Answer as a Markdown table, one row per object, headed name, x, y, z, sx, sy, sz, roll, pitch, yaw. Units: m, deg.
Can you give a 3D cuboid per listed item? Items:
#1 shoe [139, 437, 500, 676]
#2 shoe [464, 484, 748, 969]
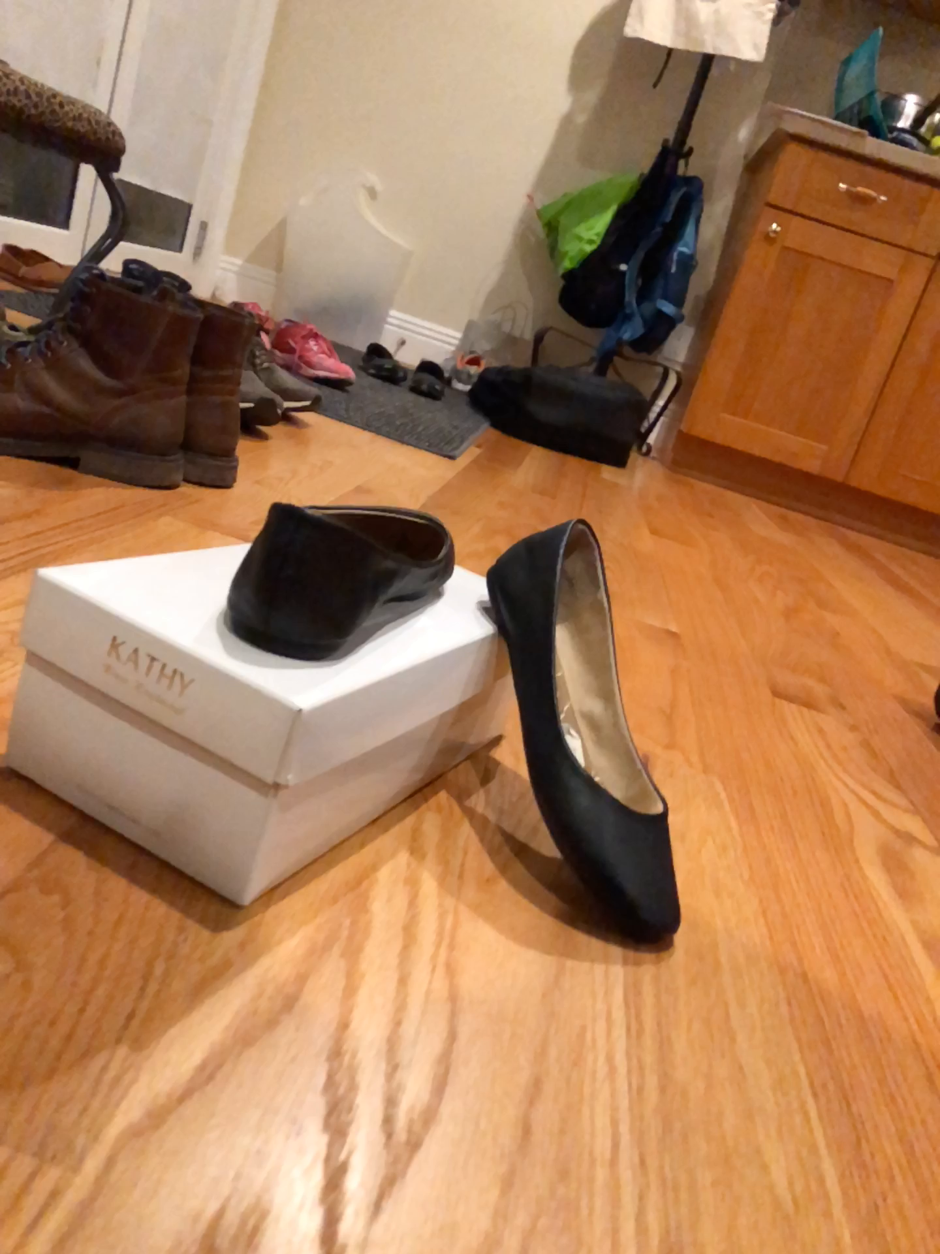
| name | x | y | z | sx | sy | sz | roll | pitch | yaw |
| --- | --- | --- | --- | --- | --- | --- | --- | --- | --- |
| shoe | -0.057 | -0.048 | 0.510 | 0.076 | 0.060 | 0.240 | 21 | 17 | 10 |
| shoe | 0.065 | 0.048 | 0.541 | 0.076 | 0.060 | 0.241 | 23 | 46 | -45 |
